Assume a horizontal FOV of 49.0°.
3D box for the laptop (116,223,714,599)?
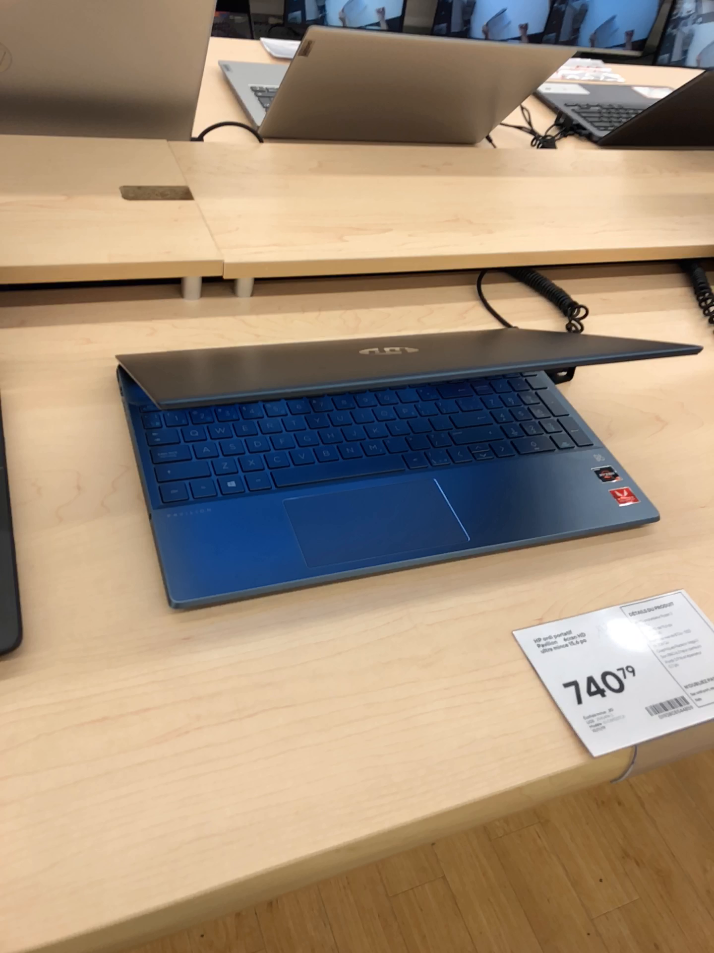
[{"bbox_3d":[0.032,-0.066,0.540,0.350,0.119,0.209,-7,47,-21],"label":"laptop"}]
